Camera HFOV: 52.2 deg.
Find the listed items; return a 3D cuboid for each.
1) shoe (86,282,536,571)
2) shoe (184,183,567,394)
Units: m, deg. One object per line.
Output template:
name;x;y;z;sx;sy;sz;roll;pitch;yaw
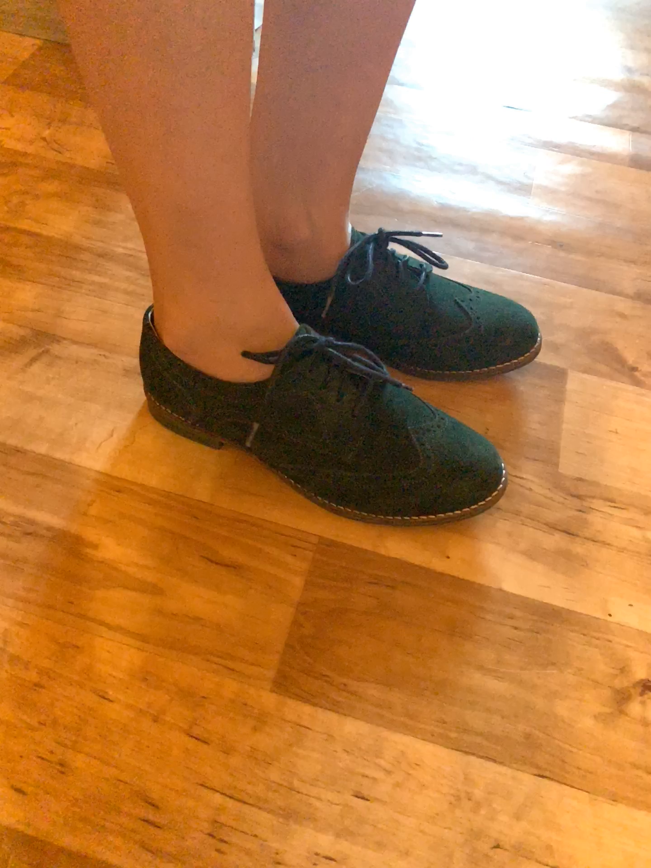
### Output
shoe;-0.008;-0.007;0.438;0.260;0.080;0.090;17;56;7
shoe;0.034;-0.107;0.493;0.250;0.080;0.100;6;55;0
